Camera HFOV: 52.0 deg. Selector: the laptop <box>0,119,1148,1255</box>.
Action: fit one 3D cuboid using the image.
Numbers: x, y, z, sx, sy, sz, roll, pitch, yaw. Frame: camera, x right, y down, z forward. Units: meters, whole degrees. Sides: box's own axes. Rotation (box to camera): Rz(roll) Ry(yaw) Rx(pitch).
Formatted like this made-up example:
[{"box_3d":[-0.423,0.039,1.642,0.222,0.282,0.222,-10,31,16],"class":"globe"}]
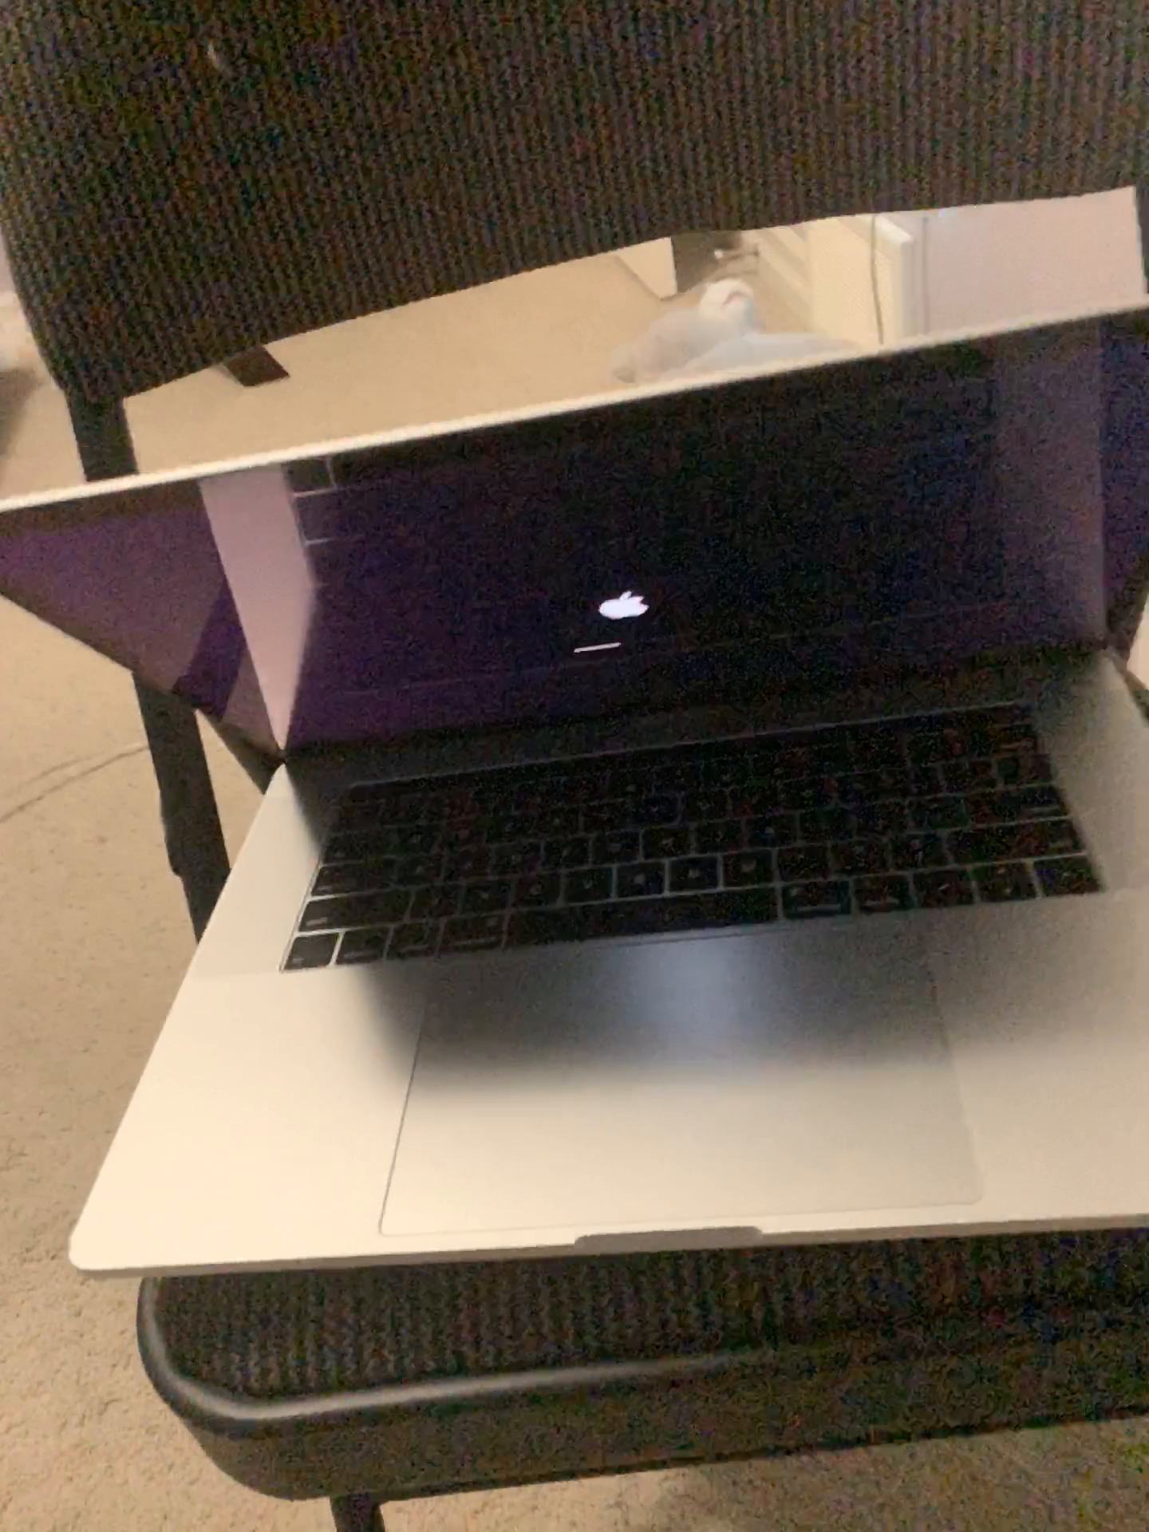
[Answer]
[{"box_3d":[0.020,-0.024,0.338,0.334,0.188,0.232,-7,38,10],"class":"laptop"}]
